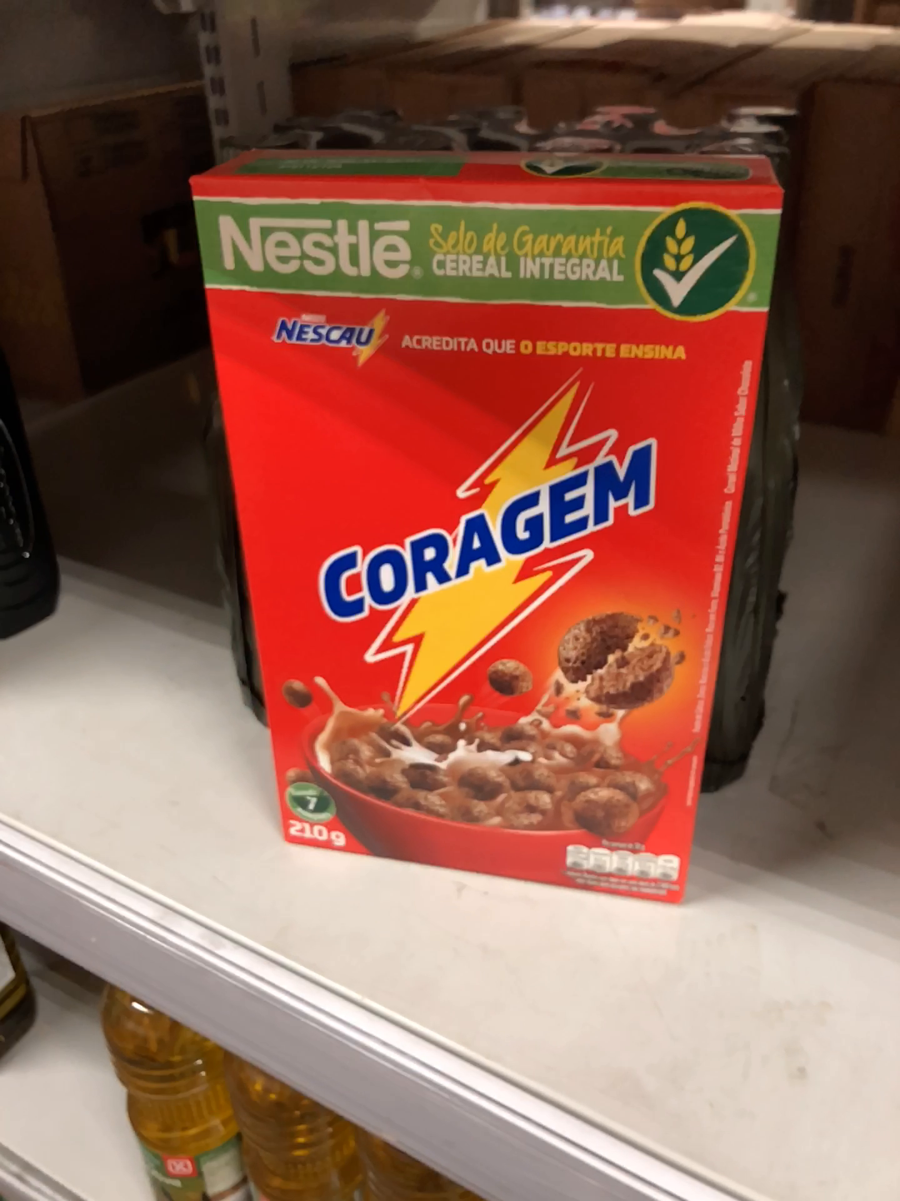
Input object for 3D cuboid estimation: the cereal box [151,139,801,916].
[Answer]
[{"bbox_3d":[0.012,-0.017,0.343,0.170,0.248,0.060,6,31,14],"label":"cereal box"}]
